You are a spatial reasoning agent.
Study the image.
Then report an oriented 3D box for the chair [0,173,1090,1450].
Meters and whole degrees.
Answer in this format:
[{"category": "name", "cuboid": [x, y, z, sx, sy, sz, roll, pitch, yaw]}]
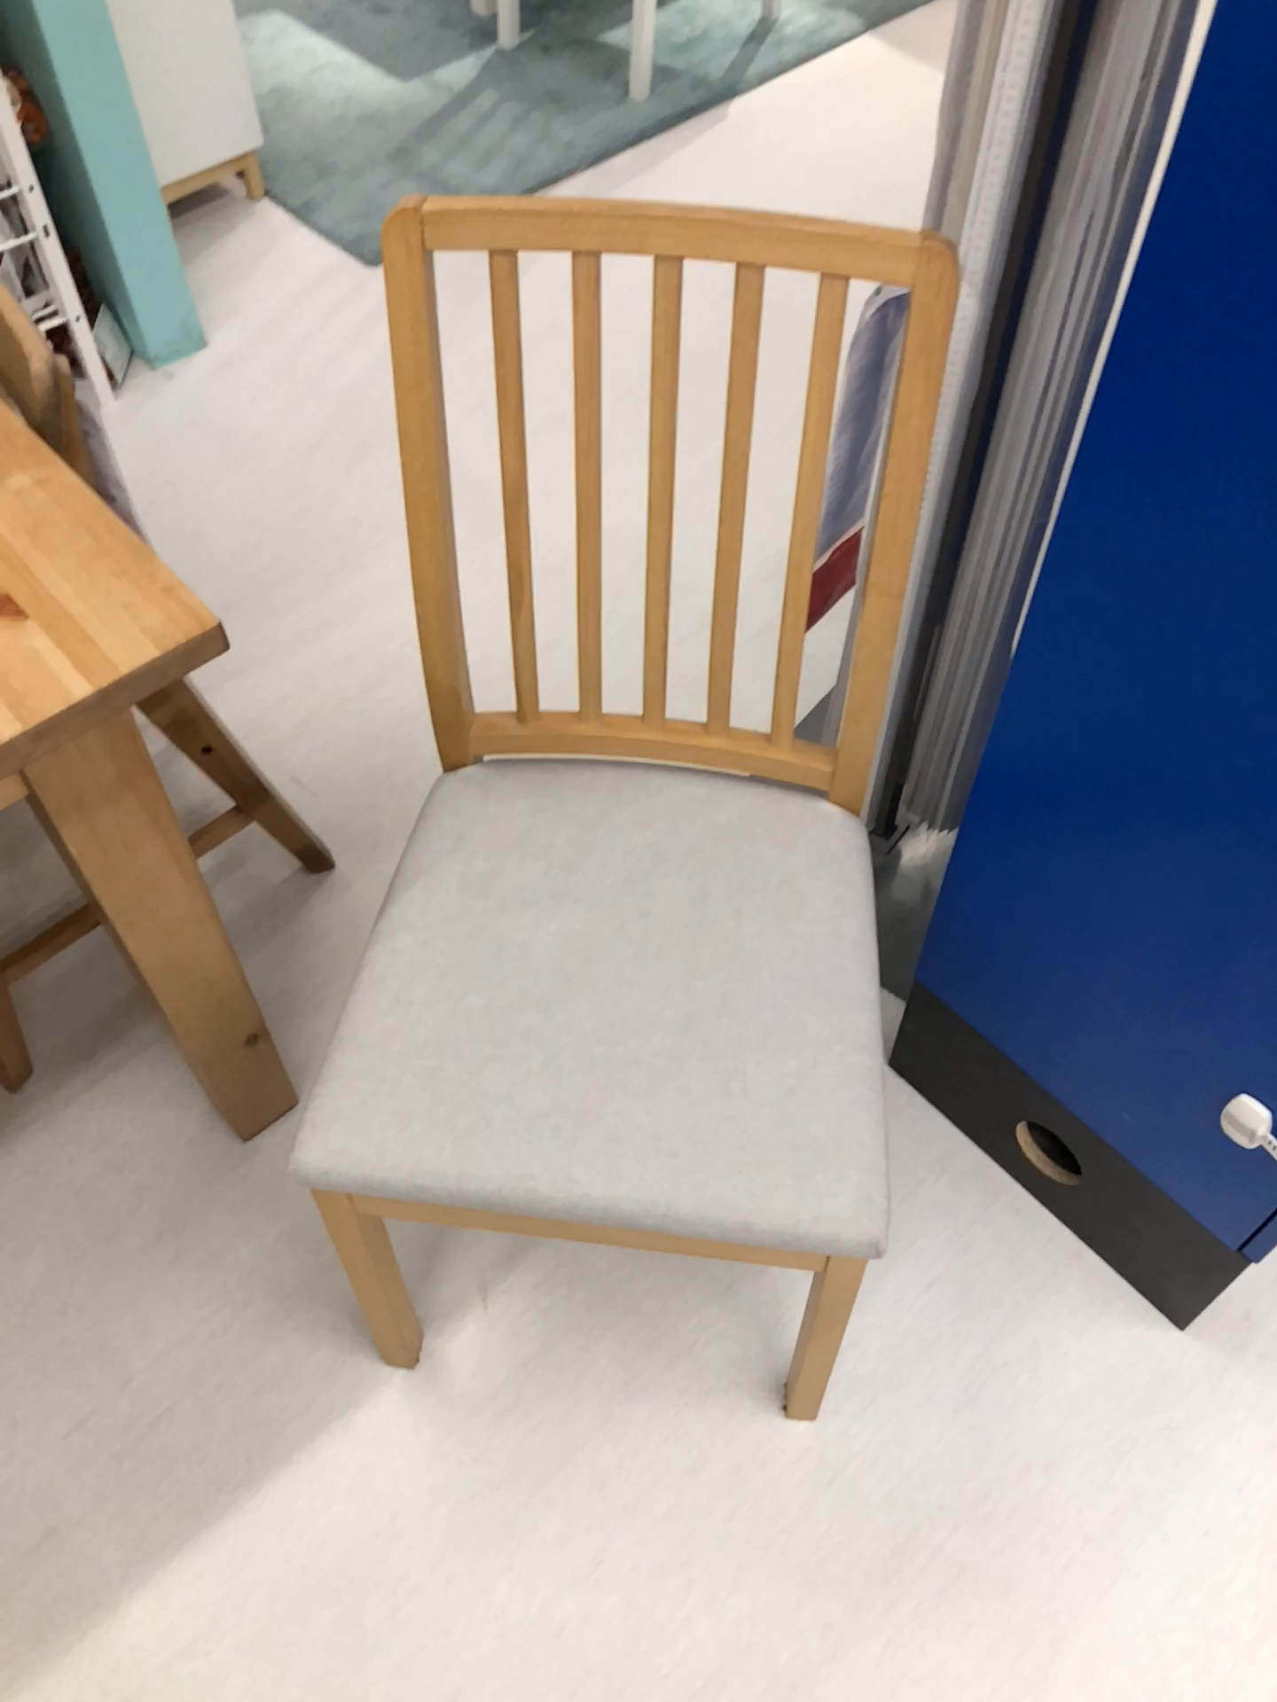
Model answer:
[{"category": "chair", "cuboid": [-0.010, 0.052, 1.064, 0.450, 0.855, 0.513, 6, 54, 5]}]
